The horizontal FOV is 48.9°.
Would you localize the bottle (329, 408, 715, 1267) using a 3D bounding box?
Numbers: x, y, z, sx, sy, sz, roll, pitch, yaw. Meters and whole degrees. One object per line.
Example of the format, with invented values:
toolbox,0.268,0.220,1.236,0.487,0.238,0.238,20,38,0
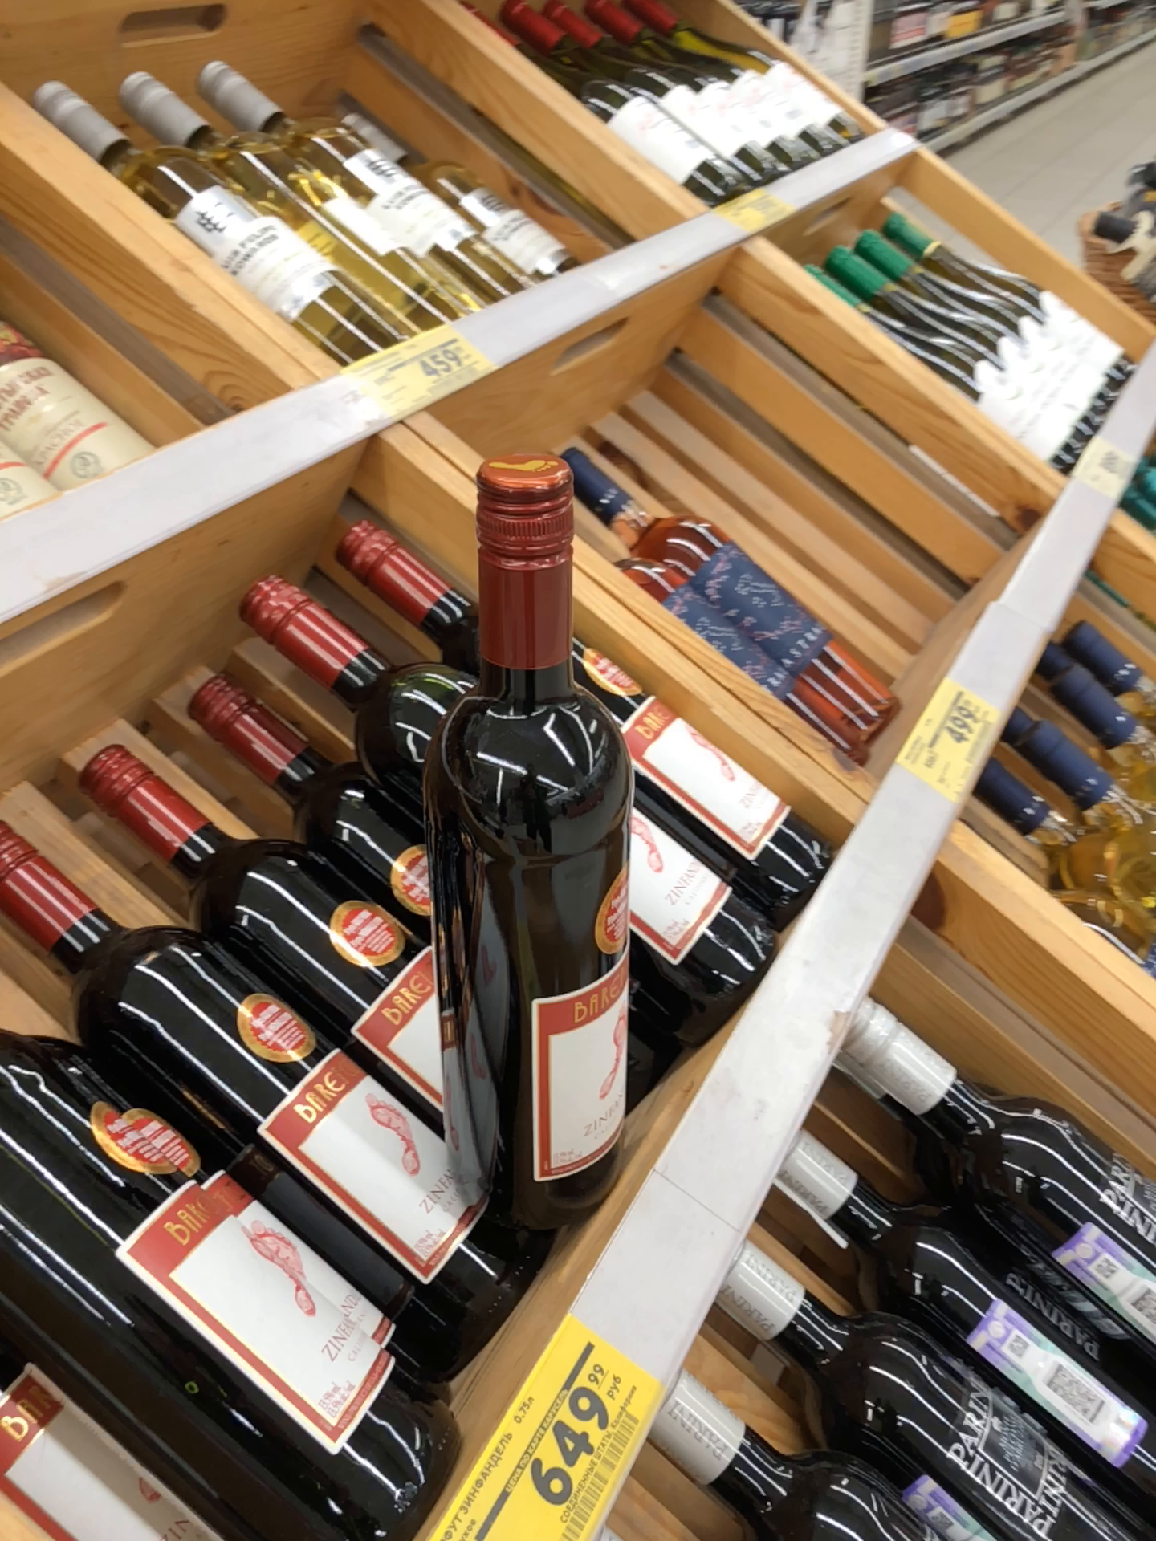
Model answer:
bottle,-0.015,0.035,0.439,0.080,0.288,0.080,0,34,0
